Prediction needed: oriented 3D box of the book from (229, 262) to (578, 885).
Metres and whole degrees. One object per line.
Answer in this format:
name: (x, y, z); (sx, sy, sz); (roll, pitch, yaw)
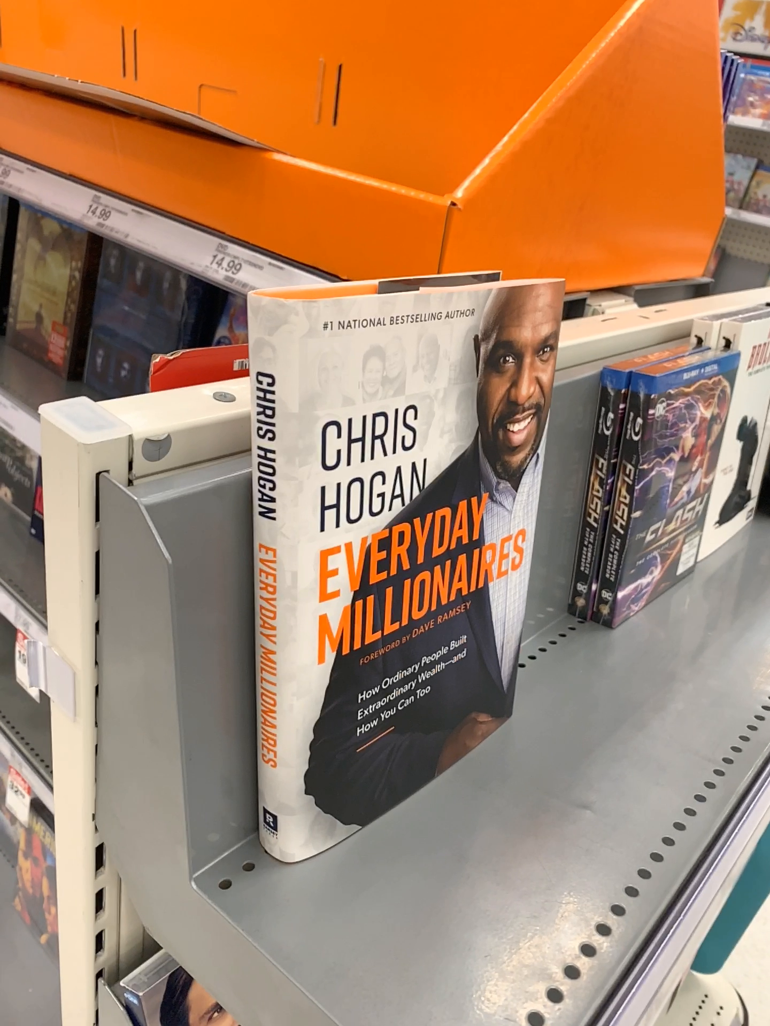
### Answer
book: (0.011, 0.018, 0.354); (0.037, 0.241, 0.160); (22, 29, 39)
